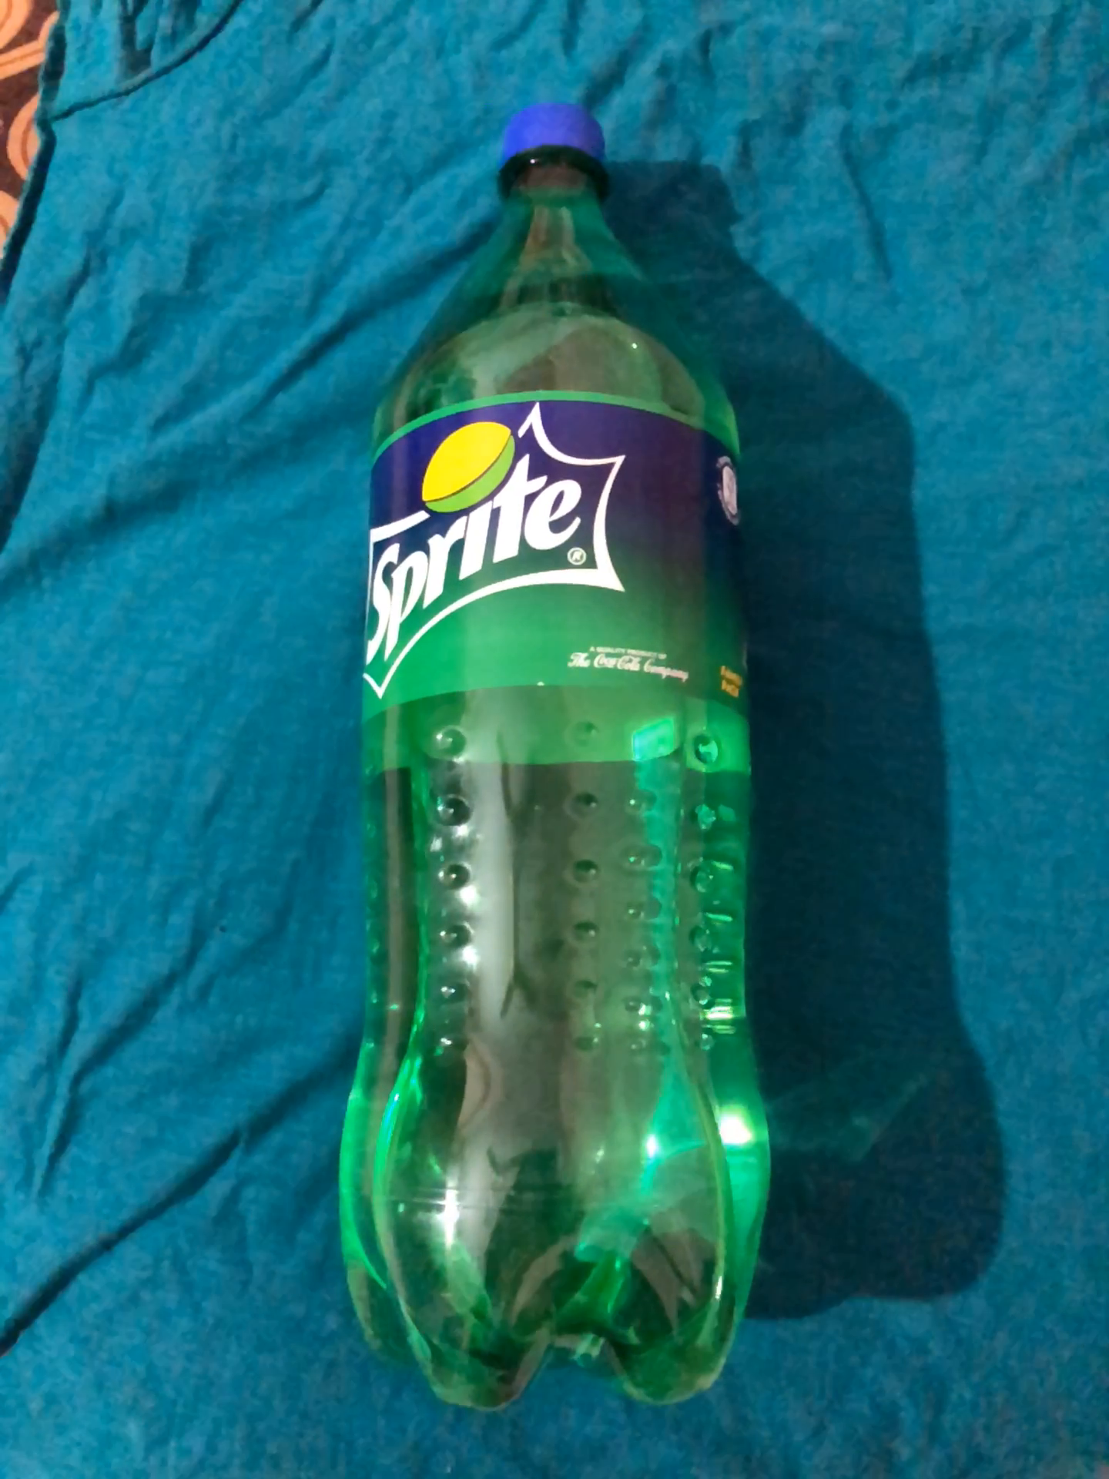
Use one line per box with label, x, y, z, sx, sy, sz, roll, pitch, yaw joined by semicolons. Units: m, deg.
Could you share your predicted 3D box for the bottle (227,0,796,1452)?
bottle;-0.008;-0.022;0.307;0.110;0.070;0.330;-4;79;18
